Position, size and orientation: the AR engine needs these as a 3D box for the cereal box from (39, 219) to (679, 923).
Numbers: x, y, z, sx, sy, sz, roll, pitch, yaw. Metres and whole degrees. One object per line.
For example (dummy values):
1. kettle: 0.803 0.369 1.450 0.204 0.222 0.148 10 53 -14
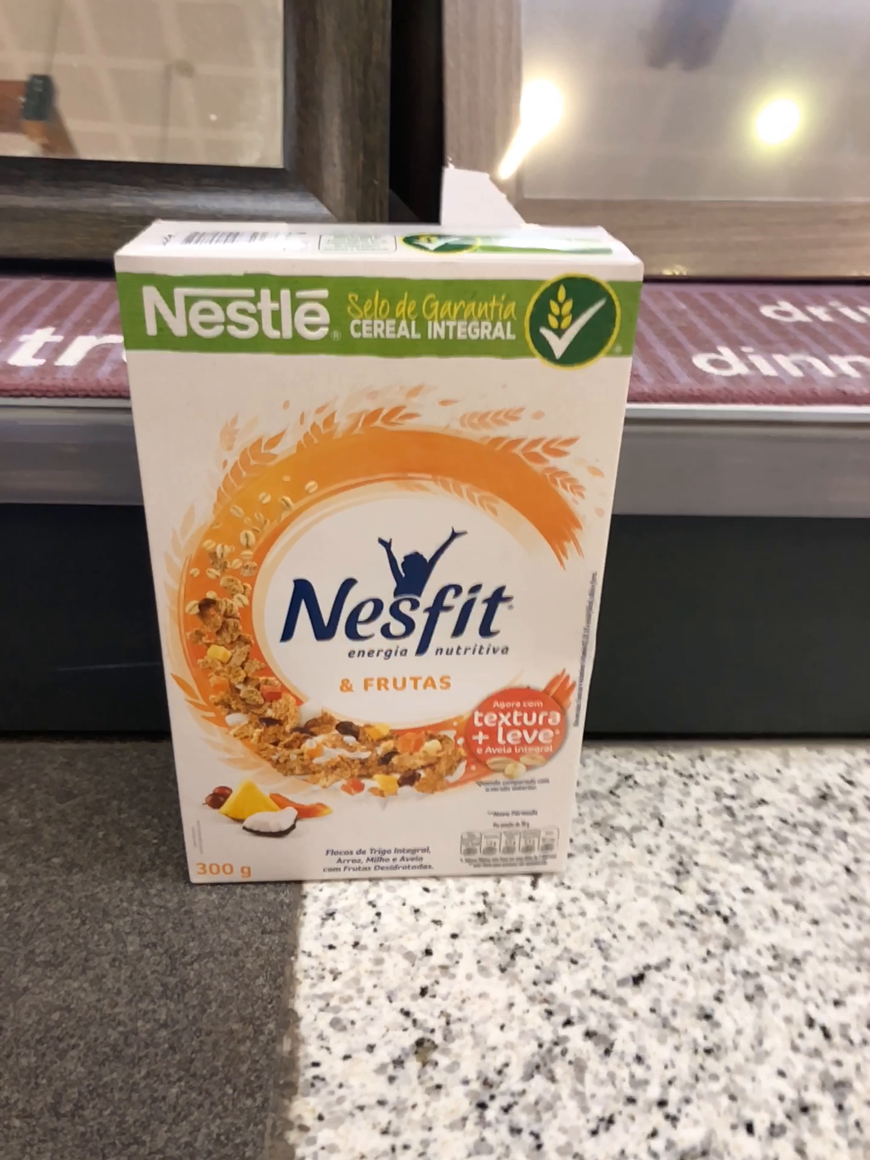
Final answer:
1. cereal box: -0.023 0.008 0.345 0.170 0.248 0.060 -1 30 -5
